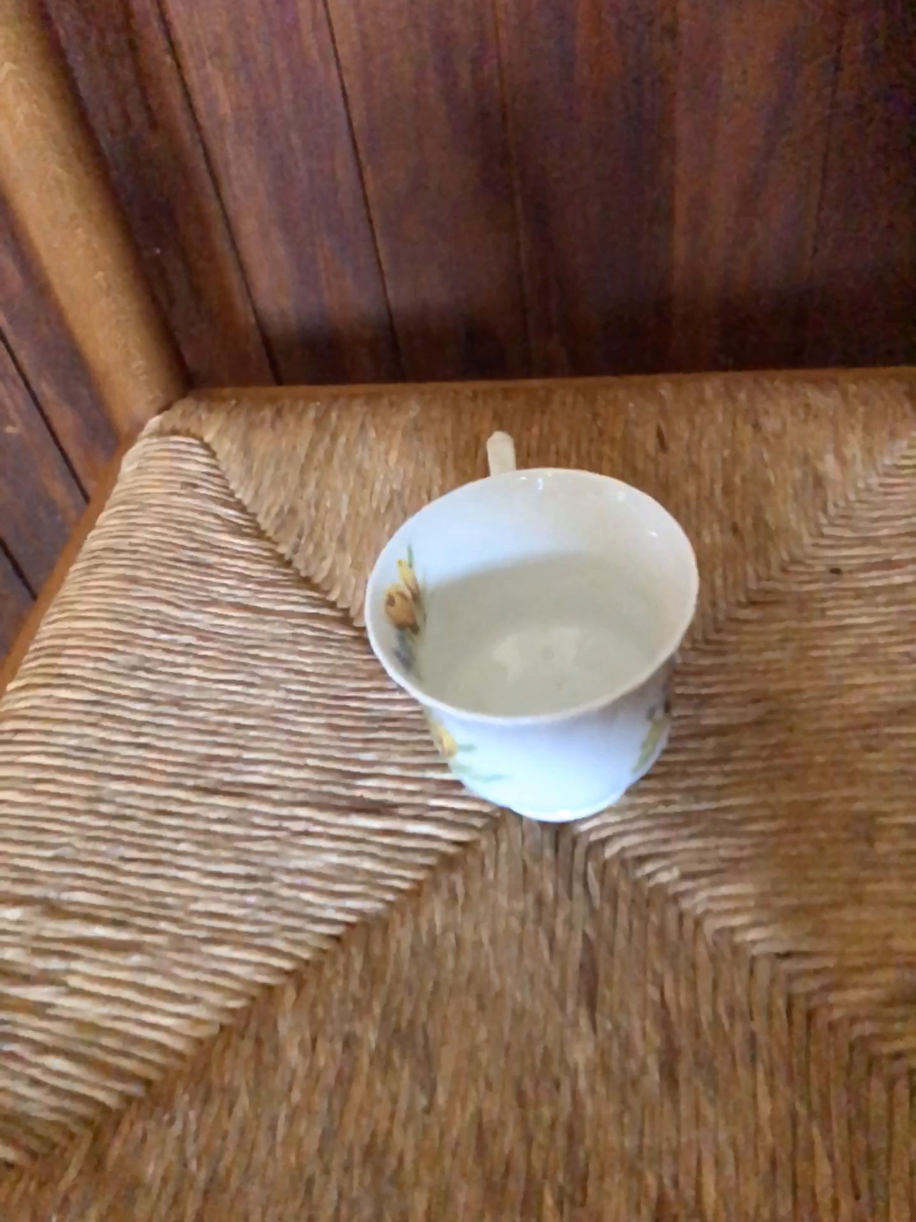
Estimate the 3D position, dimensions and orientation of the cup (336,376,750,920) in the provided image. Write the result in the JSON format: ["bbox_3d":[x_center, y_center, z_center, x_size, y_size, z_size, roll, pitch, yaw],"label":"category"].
[{"bbox_3d":[0.018,0.006,0.293,0.090,0.070,0.131,-9,47,2],"label":"cup"}]
